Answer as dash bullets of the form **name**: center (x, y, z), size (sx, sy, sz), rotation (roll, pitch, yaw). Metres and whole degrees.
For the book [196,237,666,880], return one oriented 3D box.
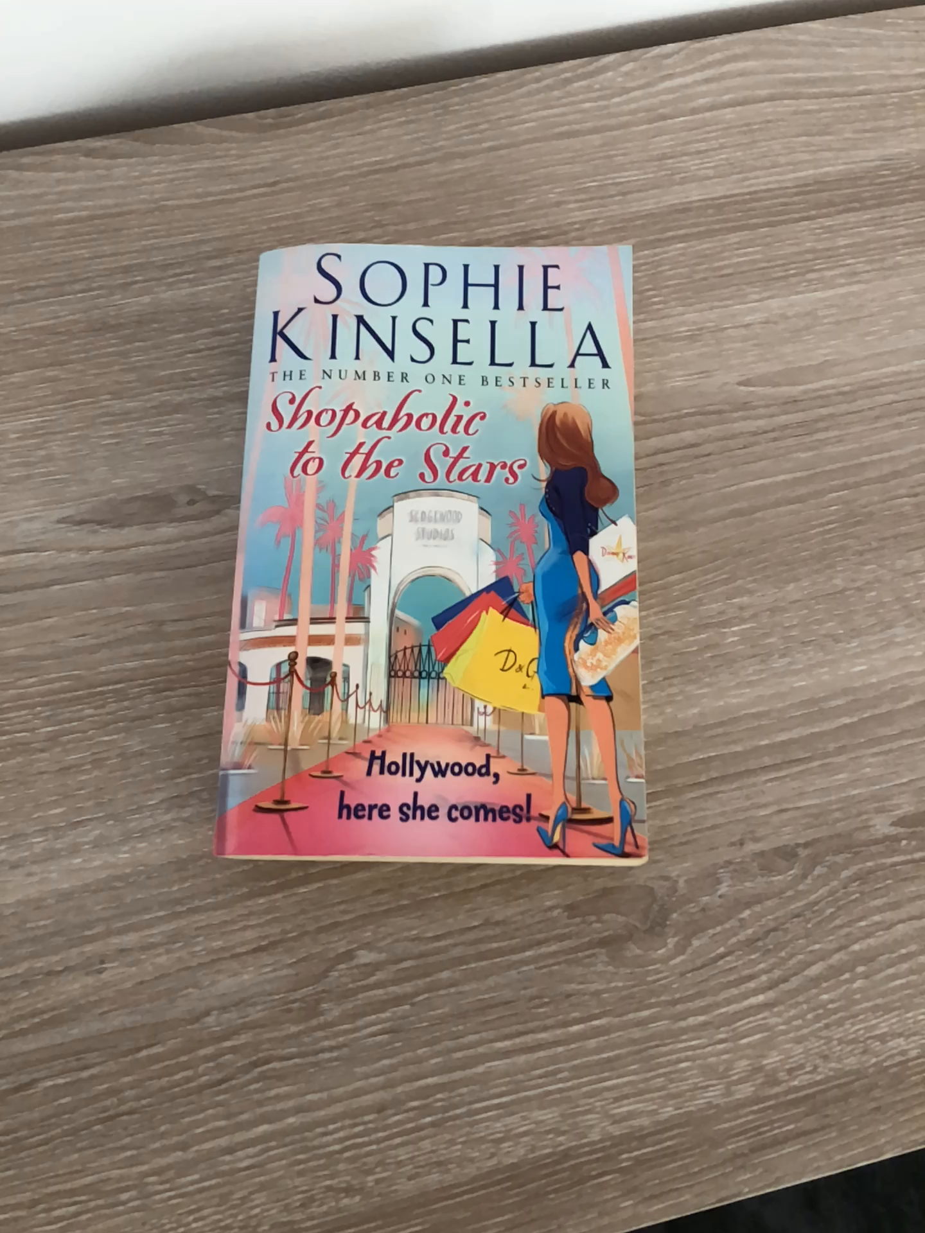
- **book**: center (-0.008, -0.020, 0.327), size (0.130, 0.040, 0.200), rotation (1, 75, -2)
